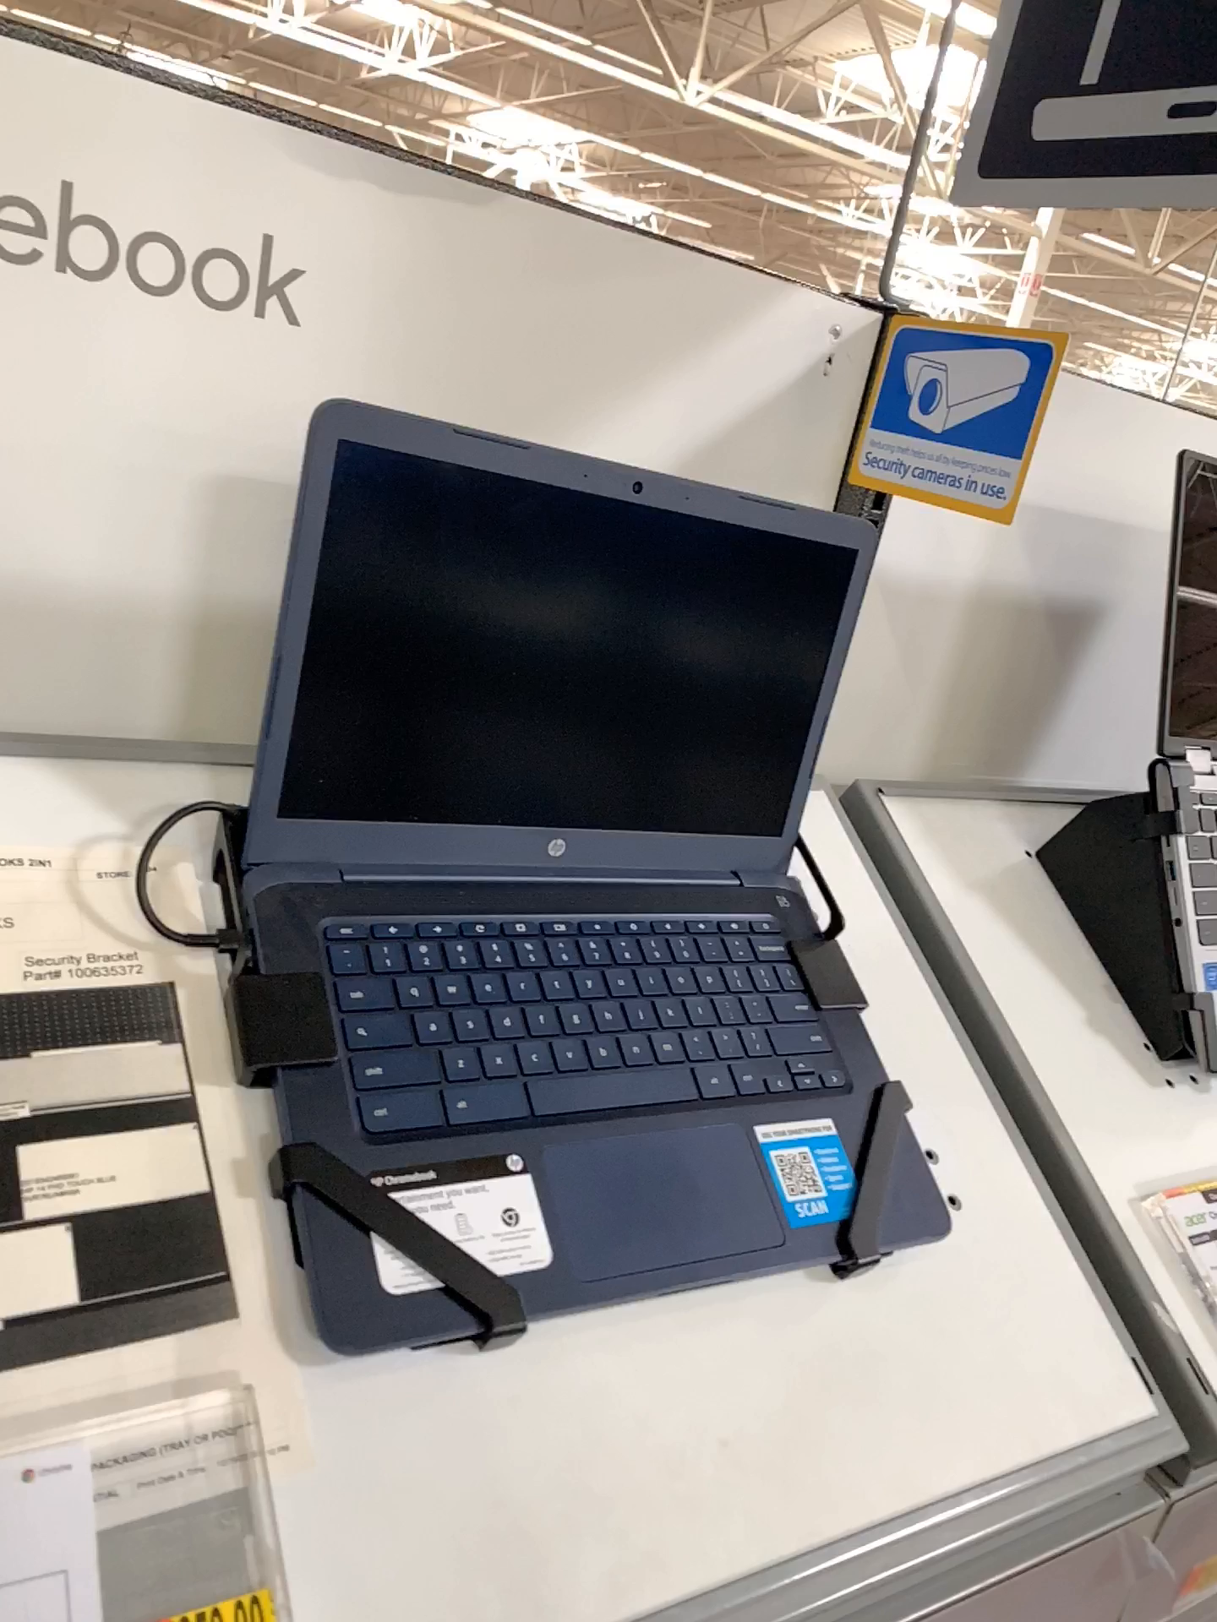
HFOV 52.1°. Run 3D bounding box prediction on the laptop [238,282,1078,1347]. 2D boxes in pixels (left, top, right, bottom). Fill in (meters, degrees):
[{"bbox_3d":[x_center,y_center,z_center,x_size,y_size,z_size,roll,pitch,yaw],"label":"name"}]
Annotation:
[{"bbox_3d":[0.012,-0.021,0.605,0.317,0.189,0.324,3,42,-32],"label":"laptop"}]
